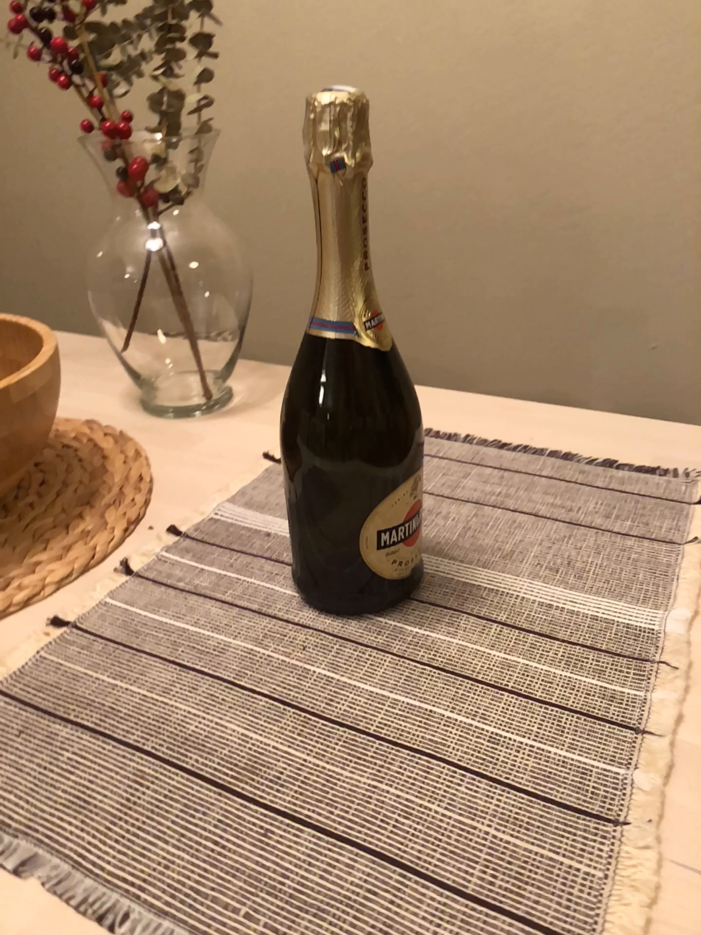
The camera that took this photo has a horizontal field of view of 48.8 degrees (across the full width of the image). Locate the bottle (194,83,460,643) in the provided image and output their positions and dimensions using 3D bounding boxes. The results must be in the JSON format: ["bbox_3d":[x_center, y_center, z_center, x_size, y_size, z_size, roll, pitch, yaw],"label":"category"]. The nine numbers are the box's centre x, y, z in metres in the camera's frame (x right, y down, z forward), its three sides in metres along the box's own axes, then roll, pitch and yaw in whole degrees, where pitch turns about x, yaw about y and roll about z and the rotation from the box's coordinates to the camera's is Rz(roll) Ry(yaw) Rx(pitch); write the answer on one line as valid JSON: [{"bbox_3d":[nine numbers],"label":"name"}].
[{"bbox_3d":[-0.004,-0.061,0.474,0.100,0.308,0.101,-2,26,1],"label":"bottle"}]
